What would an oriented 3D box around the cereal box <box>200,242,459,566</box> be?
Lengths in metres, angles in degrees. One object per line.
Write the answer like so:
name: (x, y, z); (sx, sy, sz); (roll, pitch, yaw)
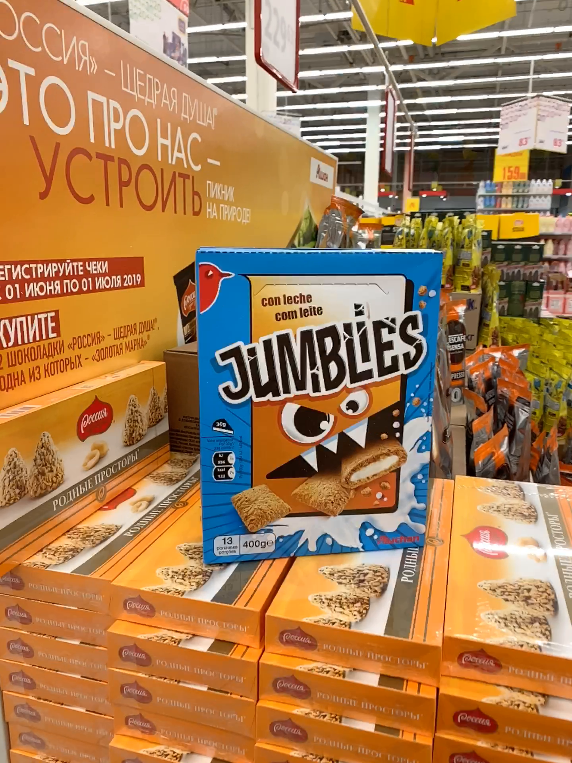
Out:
cereal box: (0.031, 0.015, 0.502); (0.200, 0.259, 0.060); (-2, 12, -9)
